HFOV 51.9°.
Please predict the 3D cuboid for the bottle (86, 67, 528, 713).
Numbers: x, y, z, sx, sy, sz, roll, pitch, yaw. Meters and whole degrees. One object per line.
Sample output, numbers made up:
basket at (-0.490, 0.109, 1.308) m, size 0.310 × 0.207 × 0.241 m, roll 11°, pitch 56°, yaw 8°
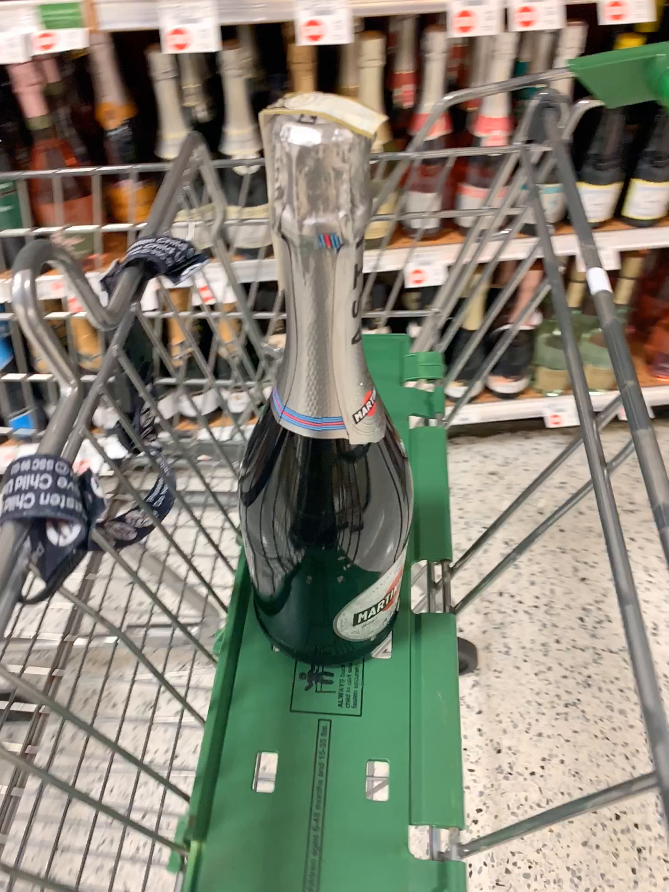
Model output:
bottle at (-0.002, 0.004, 0.321) m, size 0.100 × 0.287 × 0.101 m, roll -1°, pitch 49°, yaw 1°
